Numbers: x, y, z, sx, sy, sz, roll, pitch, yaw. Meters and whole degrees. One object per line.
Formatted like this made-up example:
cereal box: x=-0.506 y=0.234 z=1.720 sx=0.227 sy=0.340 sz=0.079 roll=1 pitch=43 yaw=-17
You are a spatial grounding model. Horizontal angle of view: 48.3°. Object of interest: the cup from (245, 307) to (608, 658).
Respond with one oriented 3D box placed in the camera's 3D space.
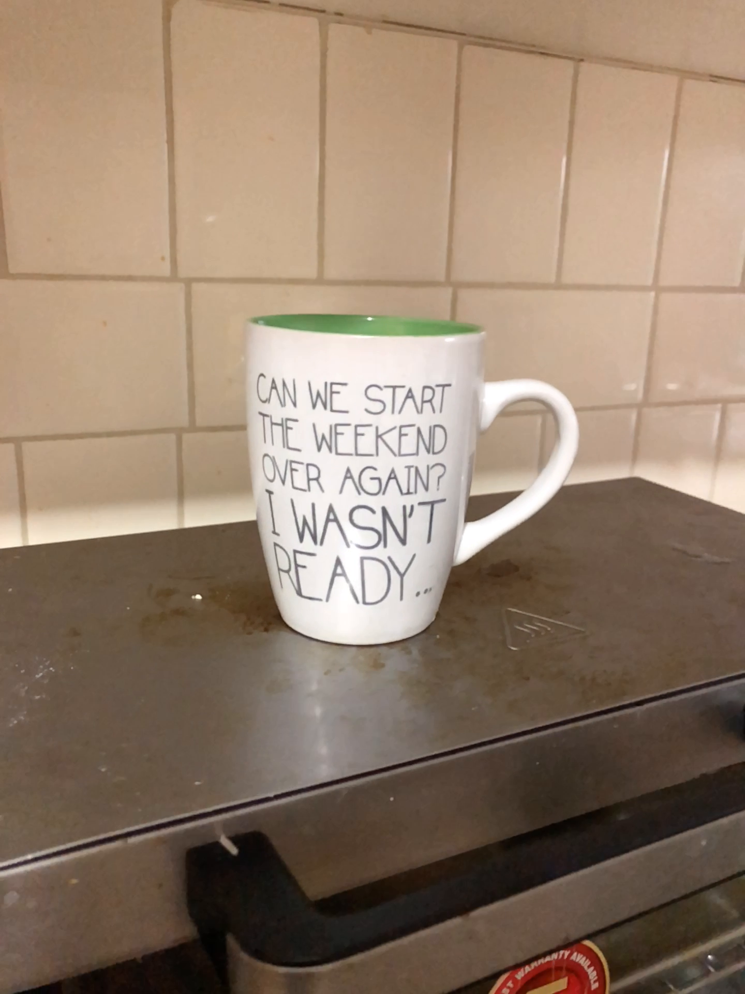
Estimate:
cup: x=0.014 y=-0.009 z=0.297 sx=0.110 sy=0.110 sz=0.070 roll=1 pitch=15 yaw=-3
